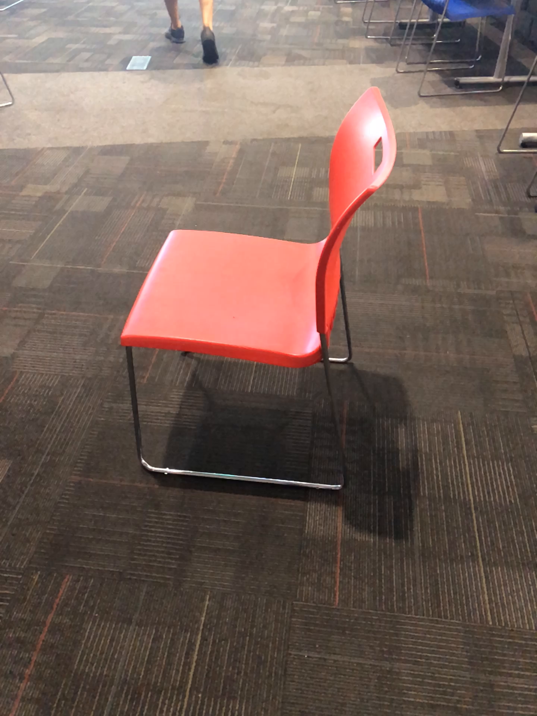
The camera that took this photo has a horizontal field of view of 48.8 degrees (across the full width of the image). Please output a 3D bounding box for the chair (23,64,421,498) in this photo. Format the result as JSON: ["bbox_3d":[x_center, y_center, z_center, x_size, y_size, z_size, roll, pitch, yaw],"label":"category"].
[{"bbox_3d":[-0.041,-0.172,1.355,0.610,0.766,0.563,4,42,6],"label":"chair"}]
